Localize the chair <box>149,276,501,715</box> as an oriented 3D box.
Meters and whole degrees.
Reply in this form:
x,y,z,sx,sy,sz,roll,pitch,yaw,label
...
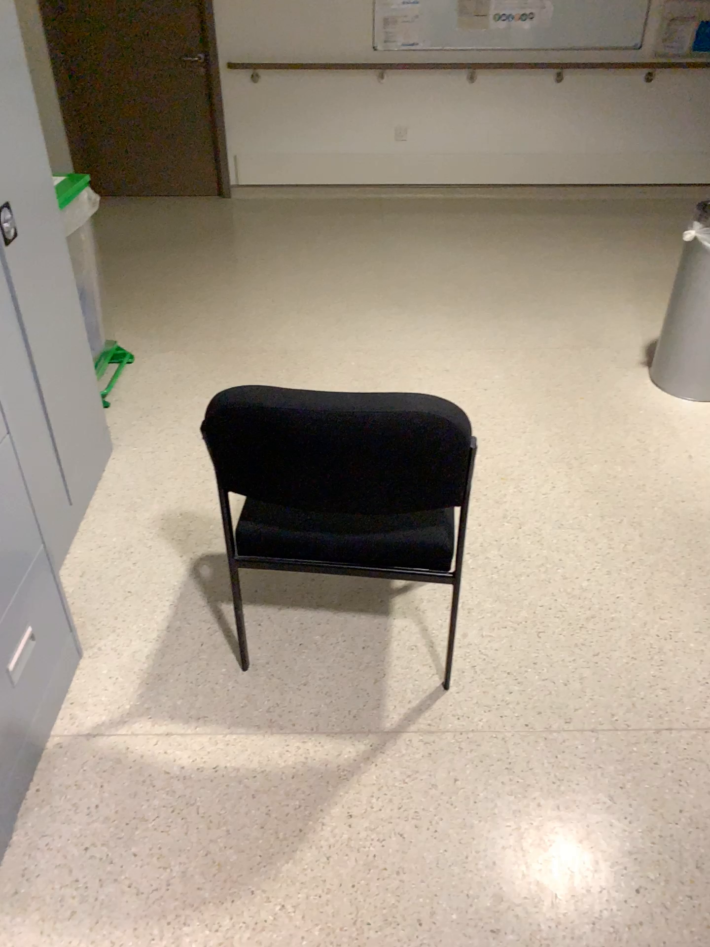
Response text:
x,y,z,sx,sy,sz,roll,pitch,yaw,label
-0.025,0.044,1.751,0.630,0.832,0.586,4,35,6,chair
